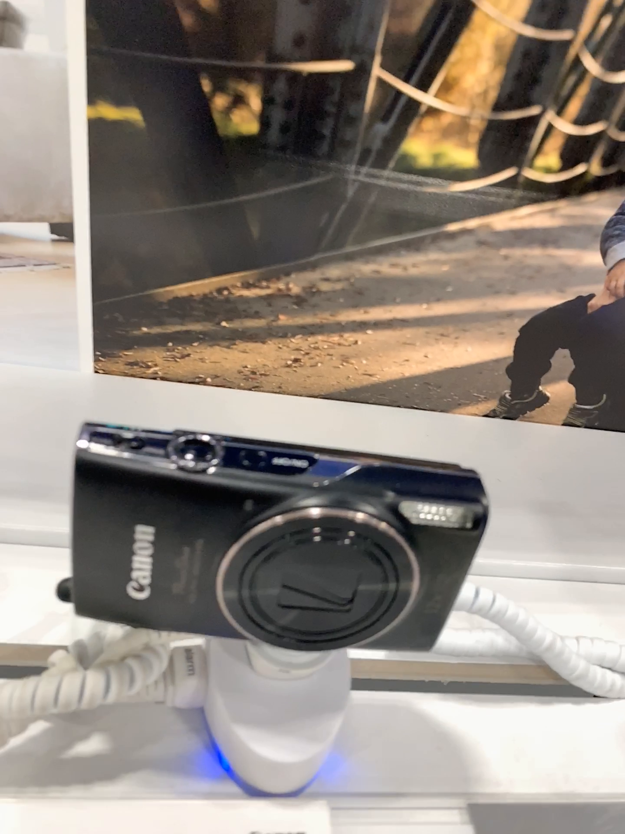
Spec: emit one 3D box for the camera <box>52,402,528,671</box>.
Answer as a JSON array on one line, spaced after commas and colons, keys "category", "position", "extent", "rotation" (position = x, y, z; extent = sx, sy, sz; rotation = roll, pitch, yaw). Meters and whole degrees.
[{"category": "camera", "position": [-0.008, 0.033, 0.166], "extent": [0.106, 0.055, 0.027], "rotation": [7, 30, -11]}]
